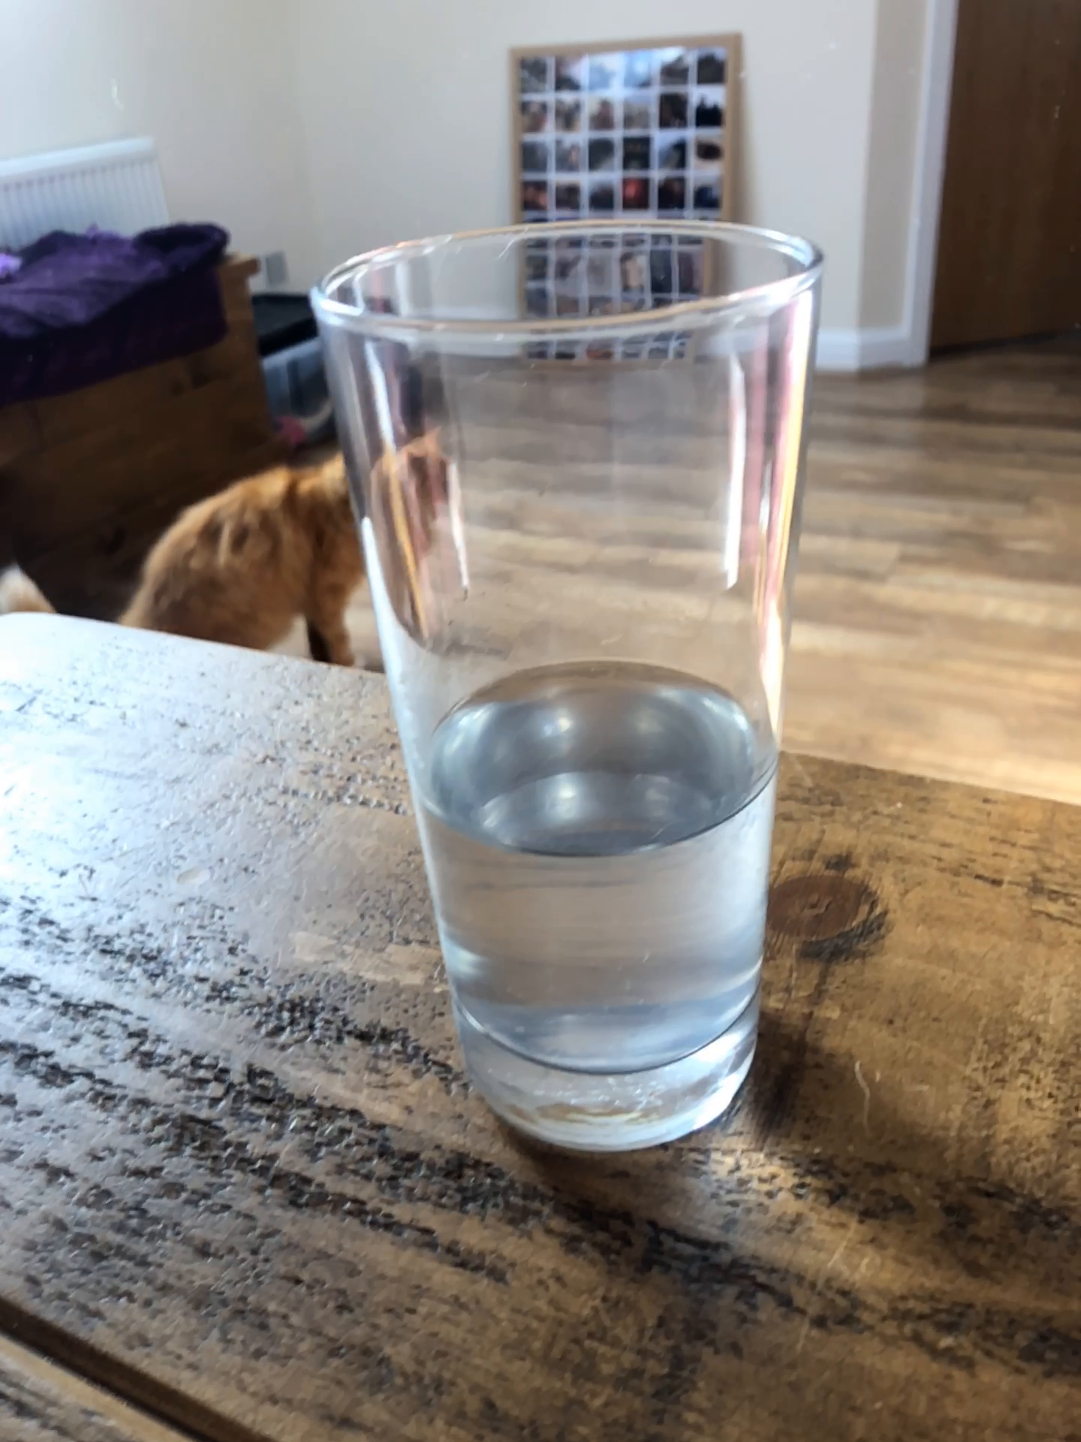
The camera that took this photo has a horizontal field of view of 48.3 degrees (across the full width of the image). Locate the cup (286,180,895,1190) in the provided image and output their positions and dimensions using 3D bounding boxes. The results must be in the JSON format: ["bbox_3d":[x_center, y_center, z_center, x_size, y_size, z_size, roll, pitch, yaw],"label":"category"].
[{"bbox_3d":[0.018,-0.006,0.213,0.074,0.152,0.078,-4,30,2],"label":"cup"}]
